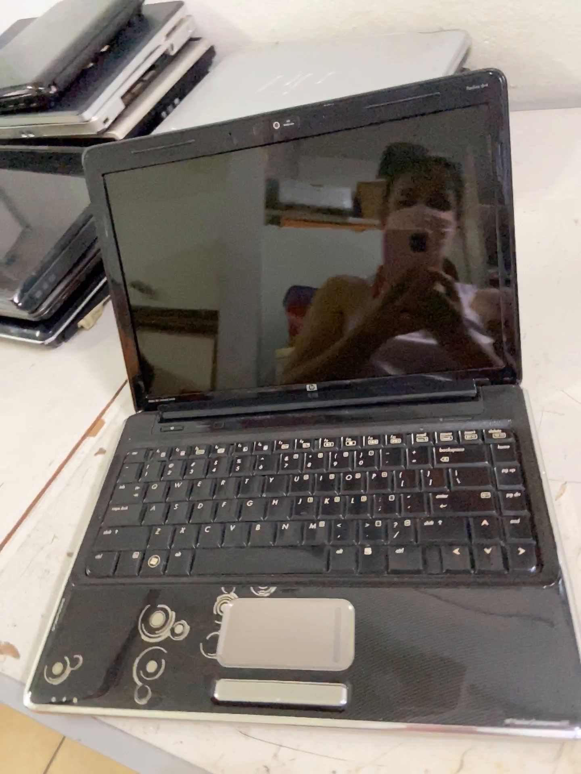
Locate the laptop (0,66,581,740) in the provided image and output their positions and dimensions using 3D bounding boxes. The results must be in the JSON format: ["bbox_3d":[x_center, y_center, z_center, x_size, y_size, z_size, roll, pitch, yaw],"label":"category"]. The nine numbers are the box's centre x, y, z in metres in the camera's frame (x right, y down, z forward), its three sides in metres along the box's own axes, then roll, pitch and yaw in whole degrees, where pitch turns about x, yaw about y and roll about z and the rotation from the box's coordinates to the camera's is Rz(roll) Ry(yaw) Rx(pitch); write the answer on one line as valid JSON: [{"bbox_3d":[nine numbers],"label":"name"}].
[{"bbox_3d":[-0.008,-0.011,0.394,0.330,0.176,0.373,-5,47,15],"label":"laptop"}]
